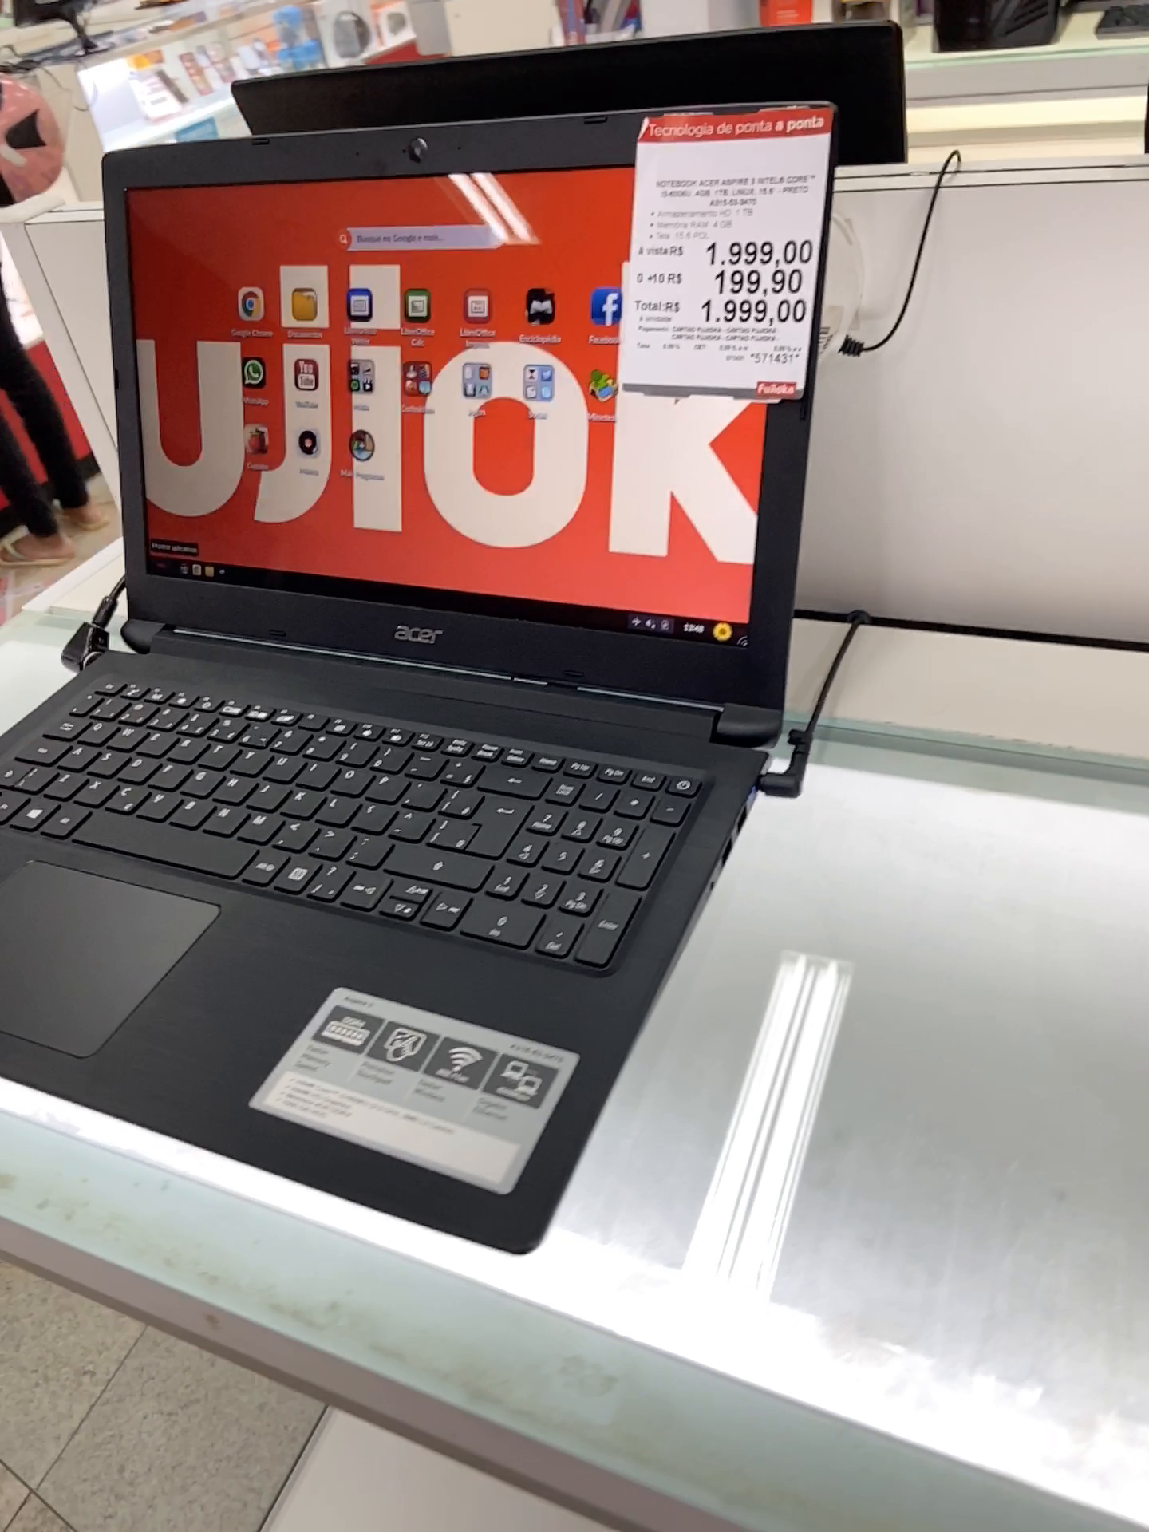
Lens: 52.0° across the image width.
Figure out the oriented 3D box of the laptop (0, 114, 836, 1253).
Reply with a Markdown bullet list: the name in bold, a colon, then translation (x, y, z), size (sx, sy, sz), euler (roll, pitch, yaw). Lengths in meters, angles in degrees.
- **laptop**: translation (-0.134, -0.087, 0.486), size (0.392, 0.230, 0.371), euler (9, 41, 24)
